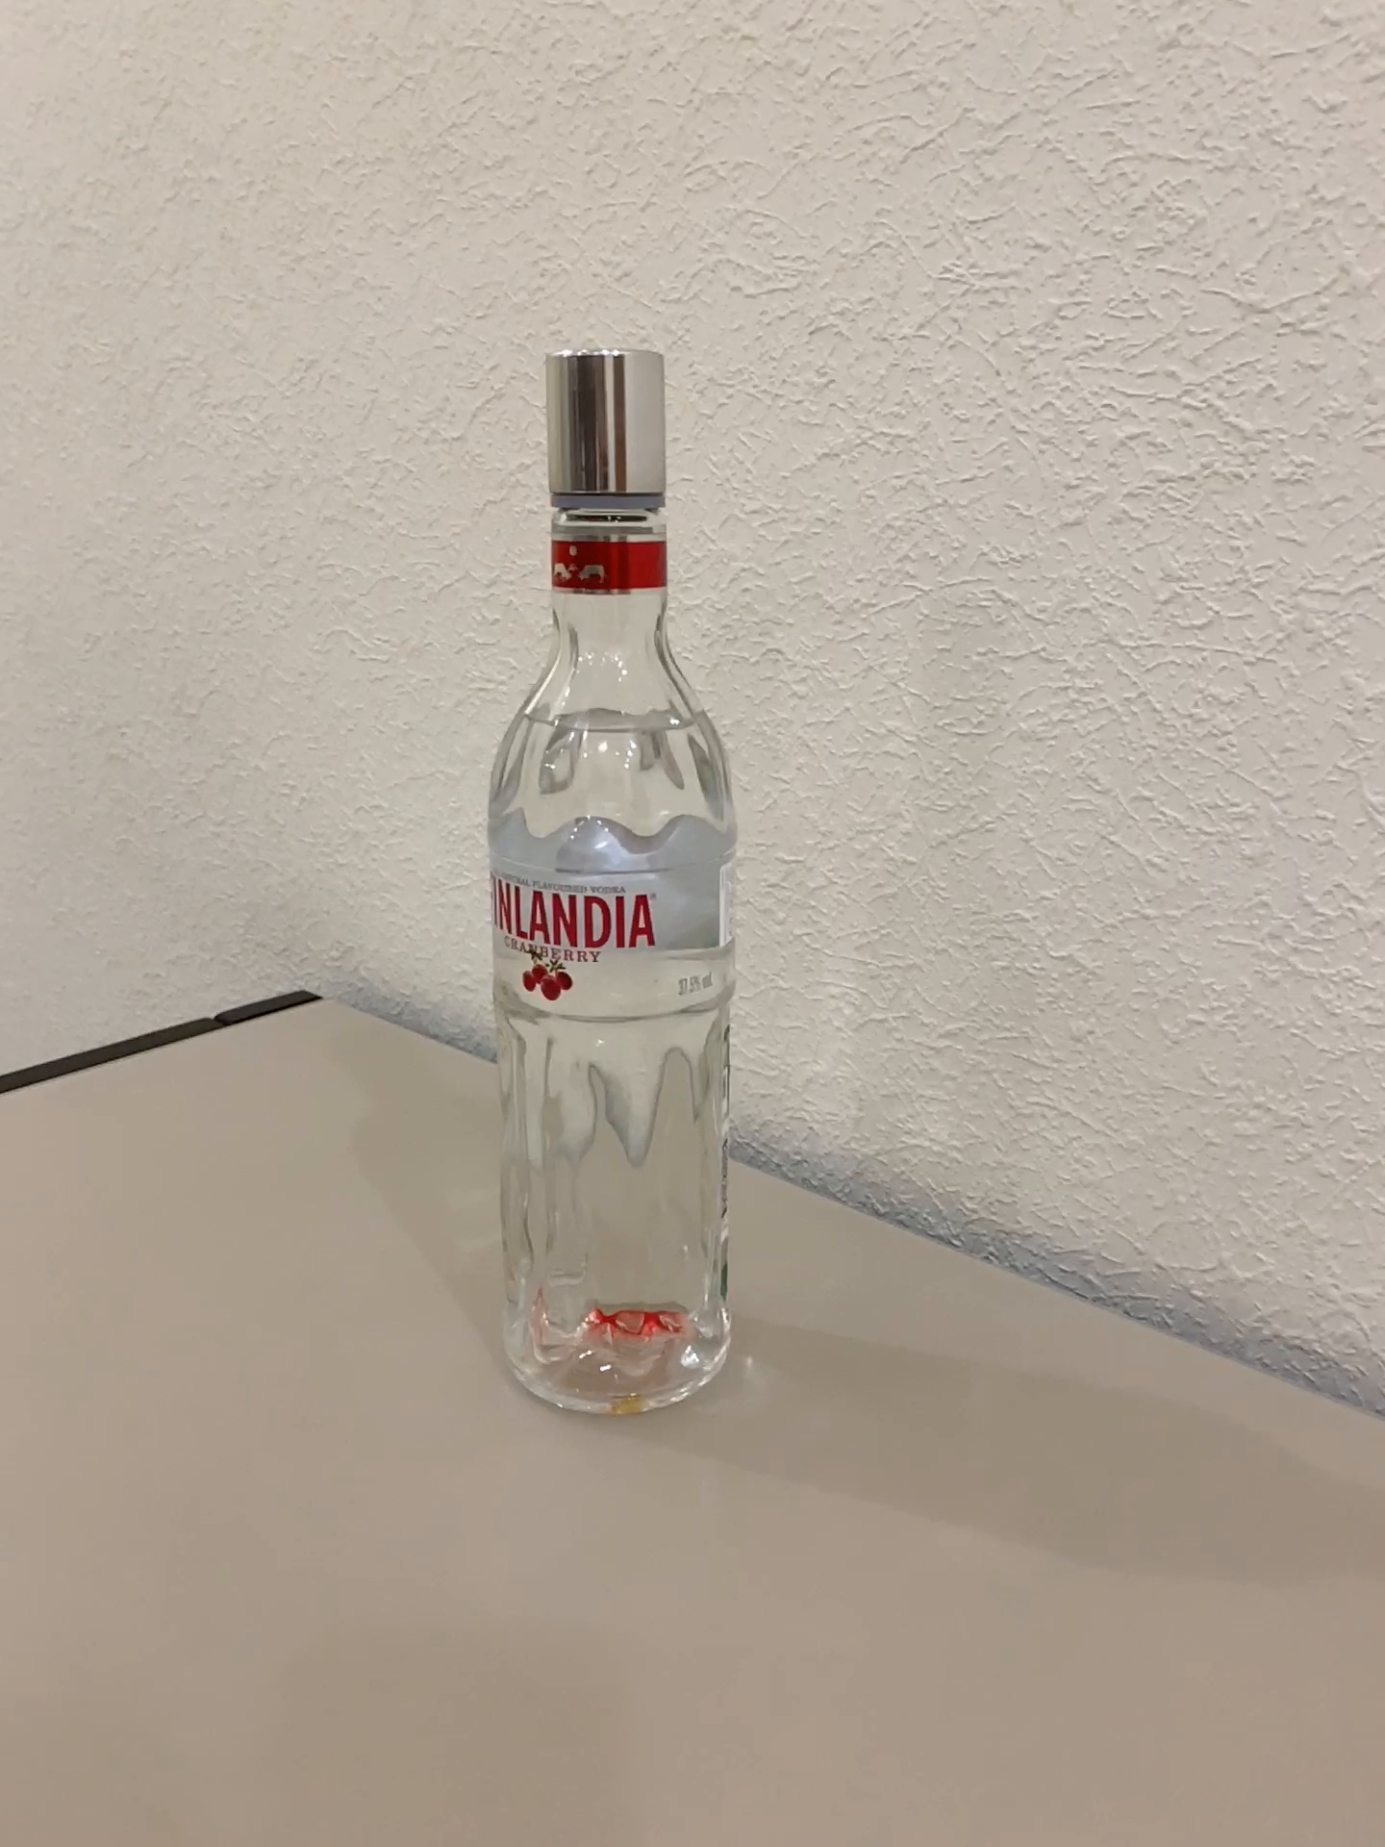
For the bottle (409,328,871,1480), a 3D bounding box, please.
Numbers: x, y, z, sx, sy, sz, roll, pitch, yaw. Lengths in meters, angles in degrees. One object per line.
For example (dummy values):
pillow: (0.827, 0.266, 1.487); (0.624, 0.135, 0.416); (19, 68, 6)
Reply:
bottle: (-0.013, -0.006, 0.430); (0.090, 0.309, 0.090); (0, 16, 0)
